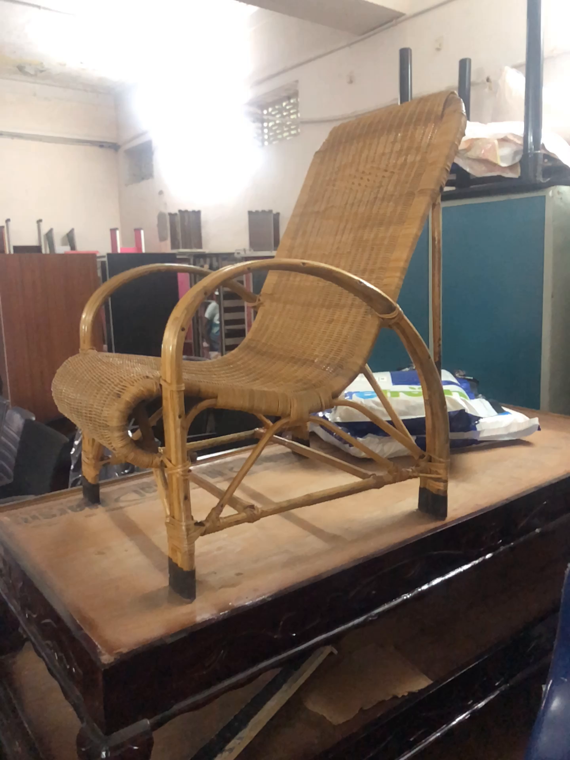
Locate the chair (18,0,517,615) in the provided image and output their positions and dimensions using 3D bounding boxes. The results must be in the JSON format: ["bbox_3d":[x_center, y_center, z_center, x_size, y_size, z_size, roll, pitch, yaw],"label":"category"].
[{"bbox_3d":[-0.062,-0.214,1.462,0.822,0.998,0.770,-8,11,-33],"label":"chair"}]
